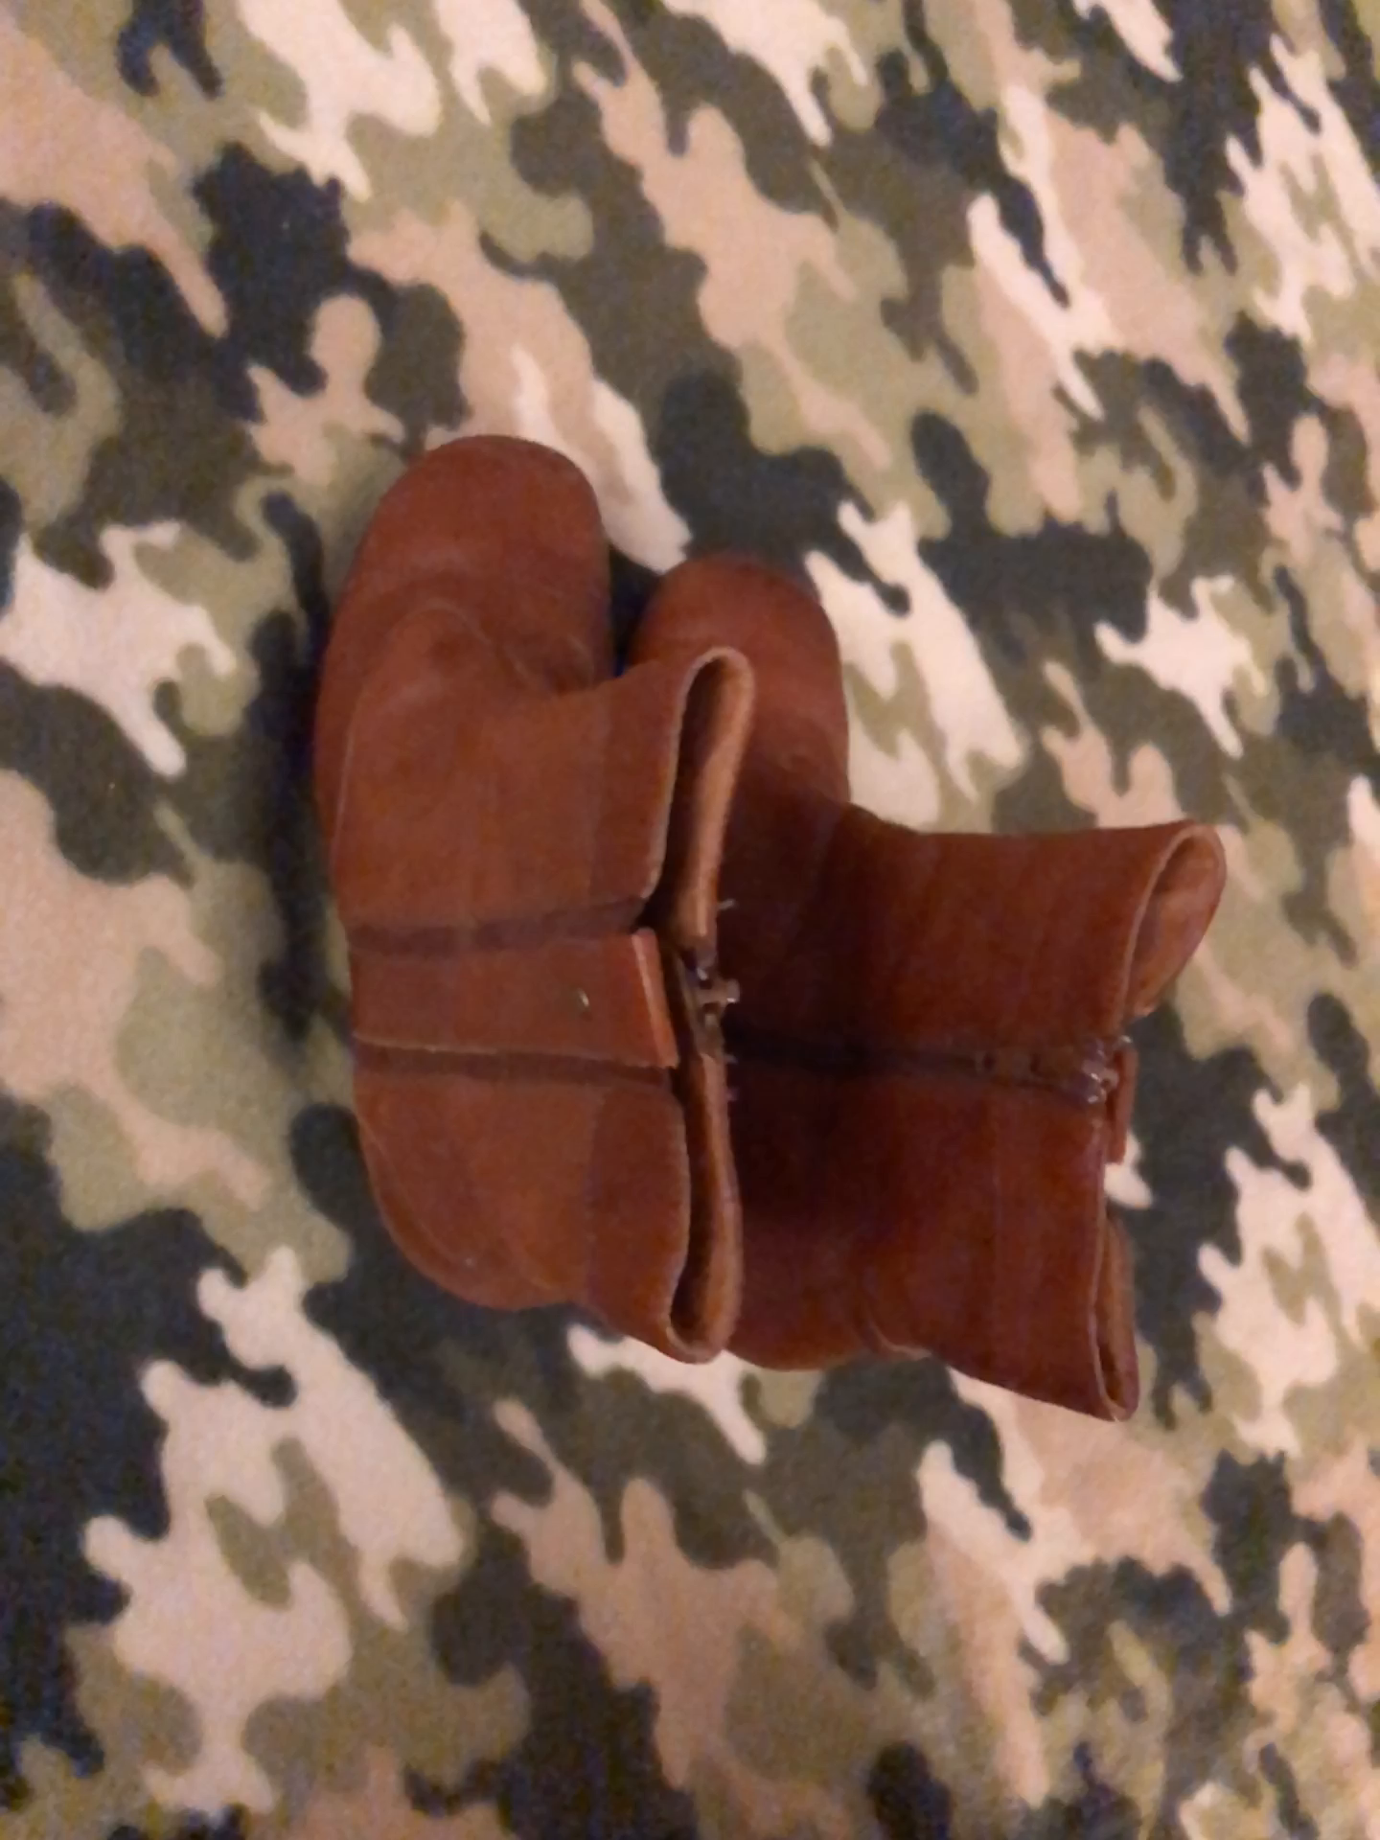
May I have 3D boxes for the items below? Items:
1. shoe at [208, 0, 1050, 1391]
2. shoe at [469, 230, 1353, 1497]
[{"bbox_3d":[-0.026,-0.028,0.337,0.090,0.190,0.220,11,79,-25],"label":"shoe"},{"bbox_3d":[0.040,-0.002,0.366,0.090,0.190,0.220,14,78,-24],"label":"shoe"}]
